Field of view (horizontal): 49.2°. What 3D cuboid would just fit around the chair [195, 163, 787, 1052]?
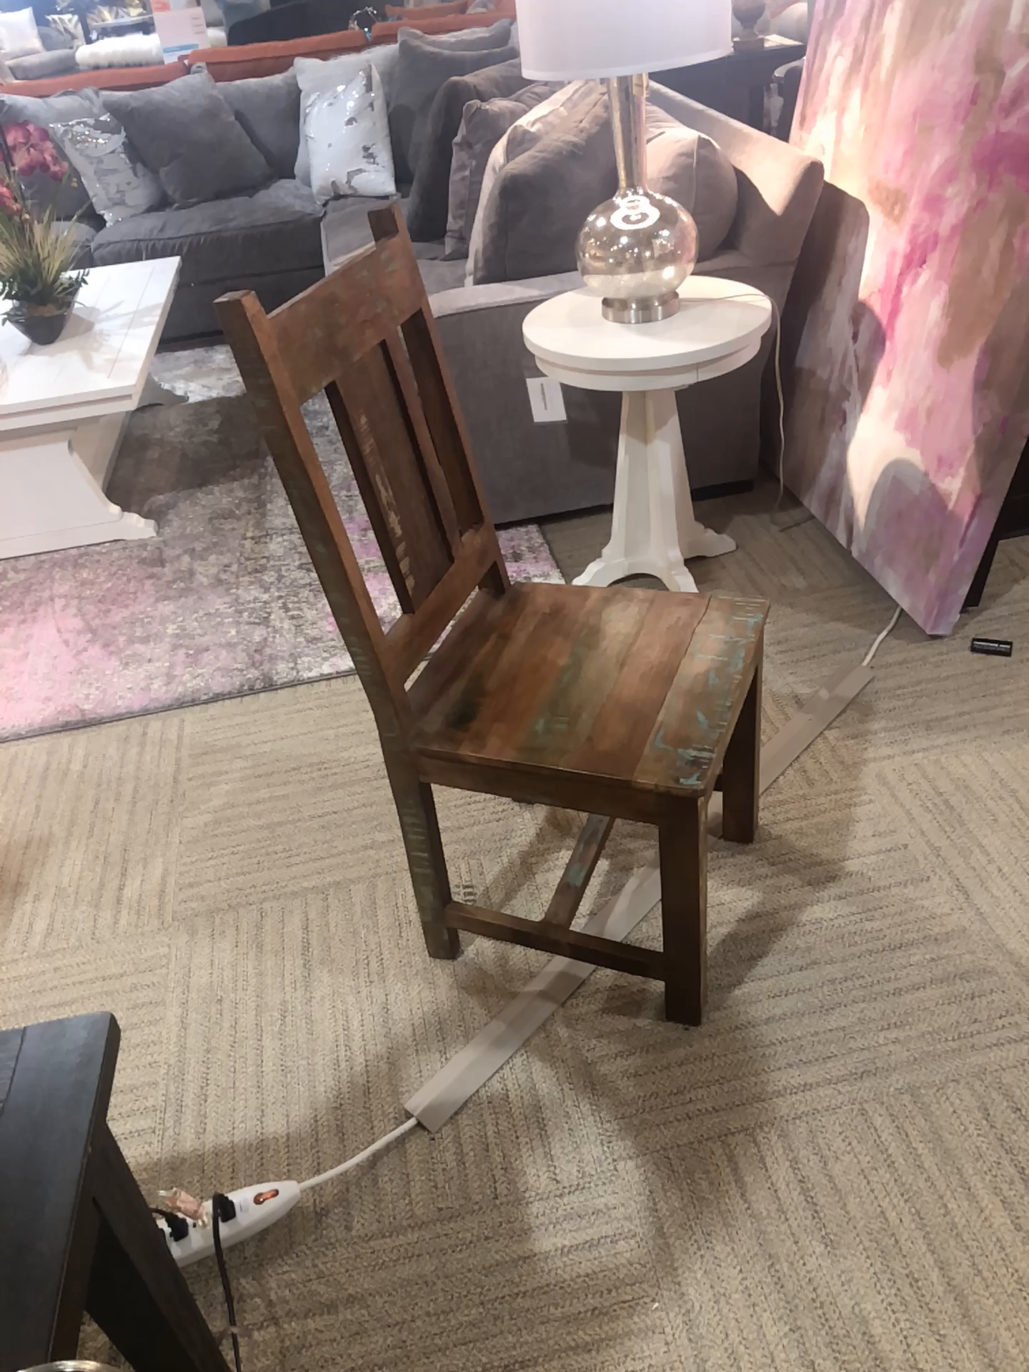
[{"bbox_3d":[0.059,-0.080,1.508,0.511,1.024,0.478,6,37,20],"label":"chair"}]
